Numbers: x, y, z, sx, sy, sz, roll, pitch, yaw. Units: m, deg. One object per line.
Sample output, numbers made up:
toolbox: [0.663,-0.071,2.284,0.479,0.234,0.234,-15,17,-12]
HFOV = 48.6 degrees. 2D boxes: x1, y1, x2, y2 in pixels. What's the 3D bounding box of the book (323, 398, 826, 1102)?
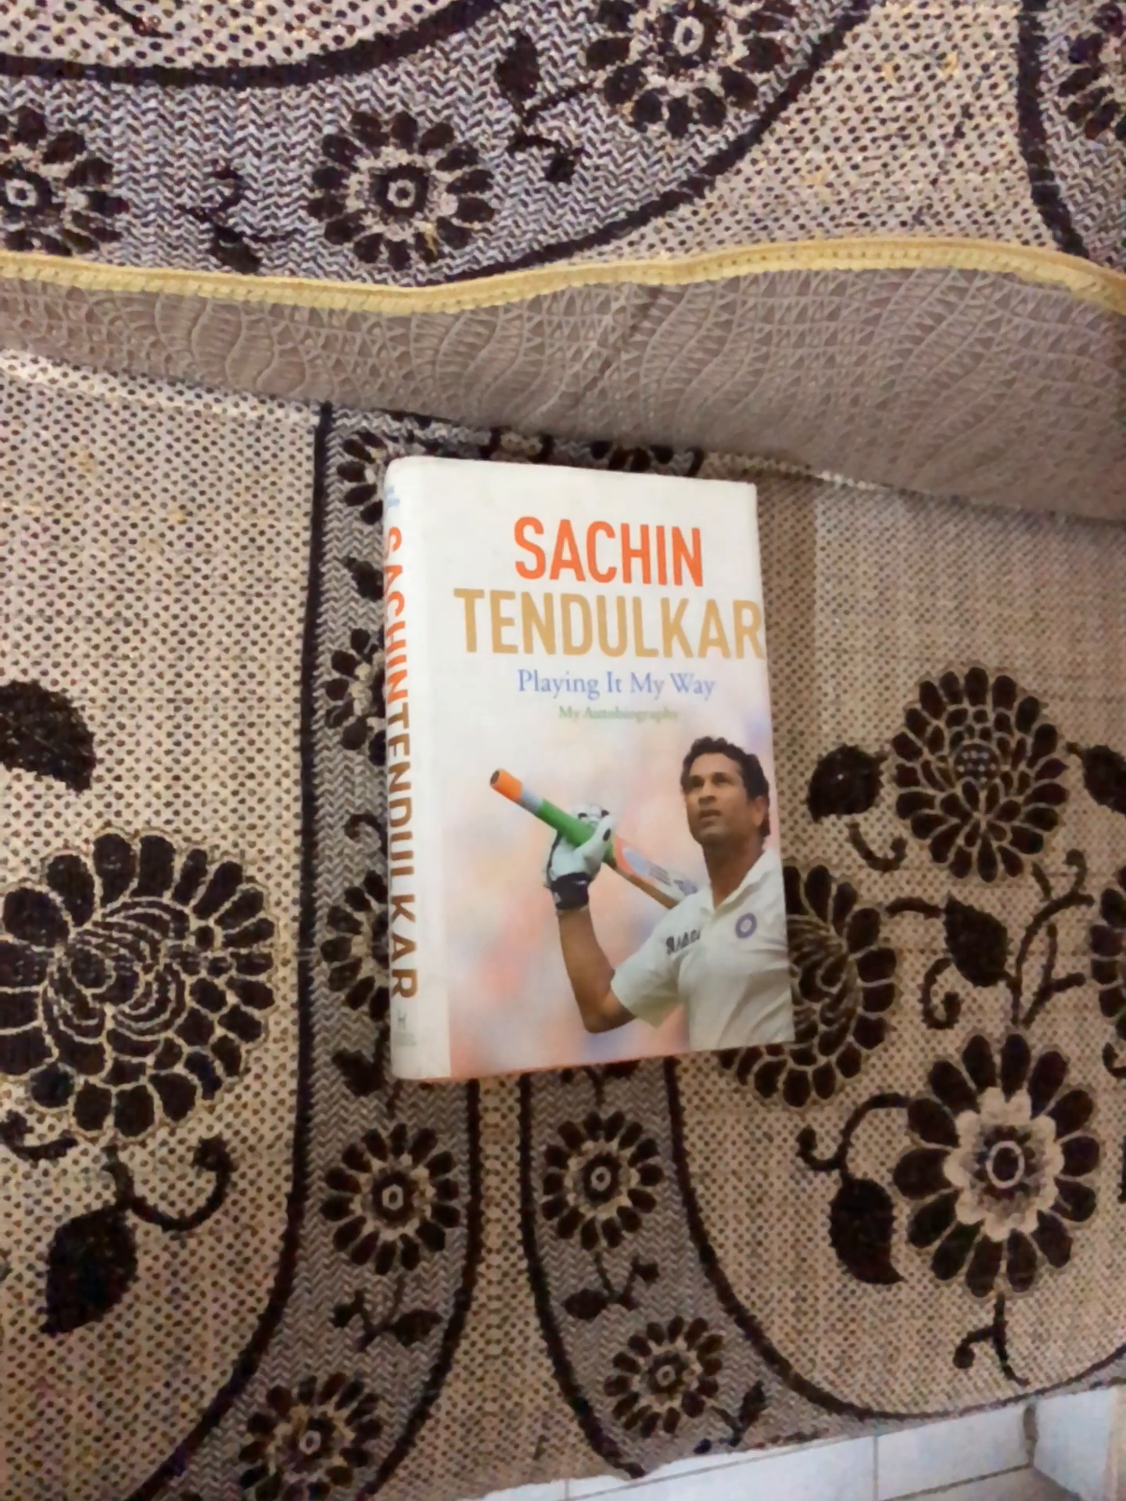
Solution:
book: [0.002,0.000,0.521,0.180,0.070,0.260,0,80,-23]
